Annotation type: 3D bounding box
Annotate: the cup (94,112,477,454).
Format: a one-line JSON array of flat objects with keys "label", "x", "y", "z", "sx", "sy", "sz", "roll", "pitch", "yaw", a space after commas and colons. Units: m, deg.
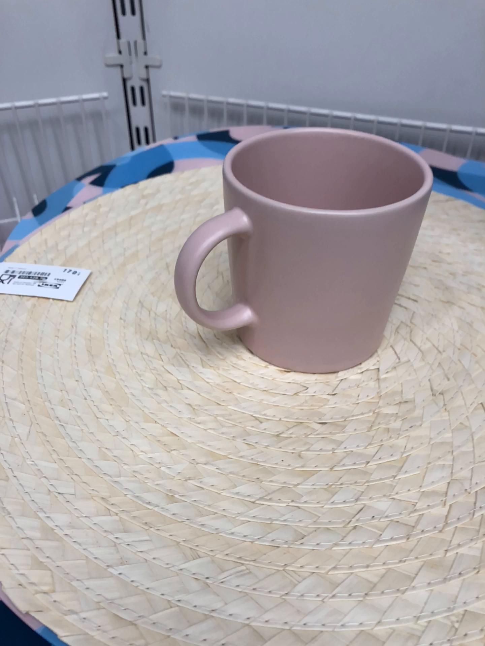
[{"label": "cup", "x": 0.019, "y": -0.031, "z": 0.259, "sx": 0.130, "sy": 0.090, "sz": 0.100, "roll": -27, "pitch": 44, "yaw": -31}]
